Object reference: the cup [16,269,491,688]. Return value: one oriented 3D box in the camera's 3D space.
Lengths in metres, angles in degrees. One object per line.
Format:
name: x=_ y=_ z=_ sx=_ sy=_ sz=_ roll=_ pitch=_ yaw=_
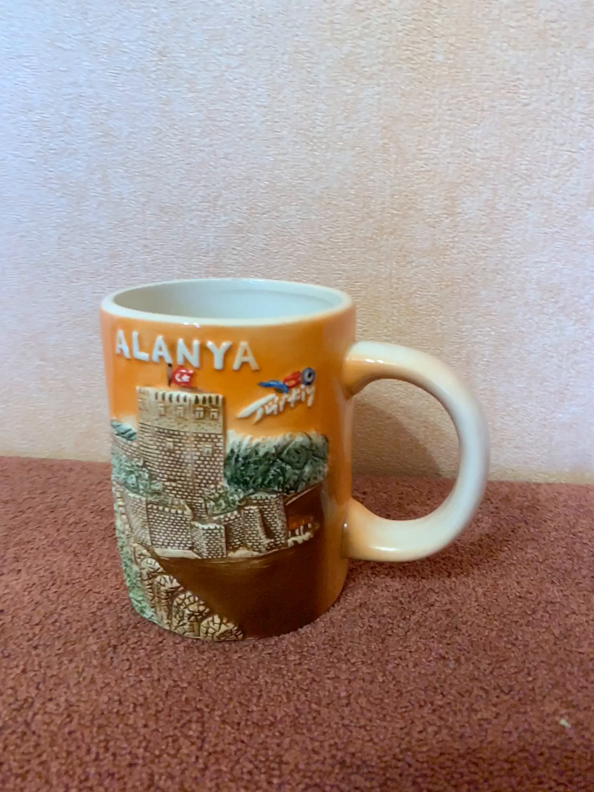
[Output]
cup: x=-0.004 y=0.015 z=0.205 sx=0.119 sy=0.098 sz=0.088 roll=3 pitch=21 yaw=13
